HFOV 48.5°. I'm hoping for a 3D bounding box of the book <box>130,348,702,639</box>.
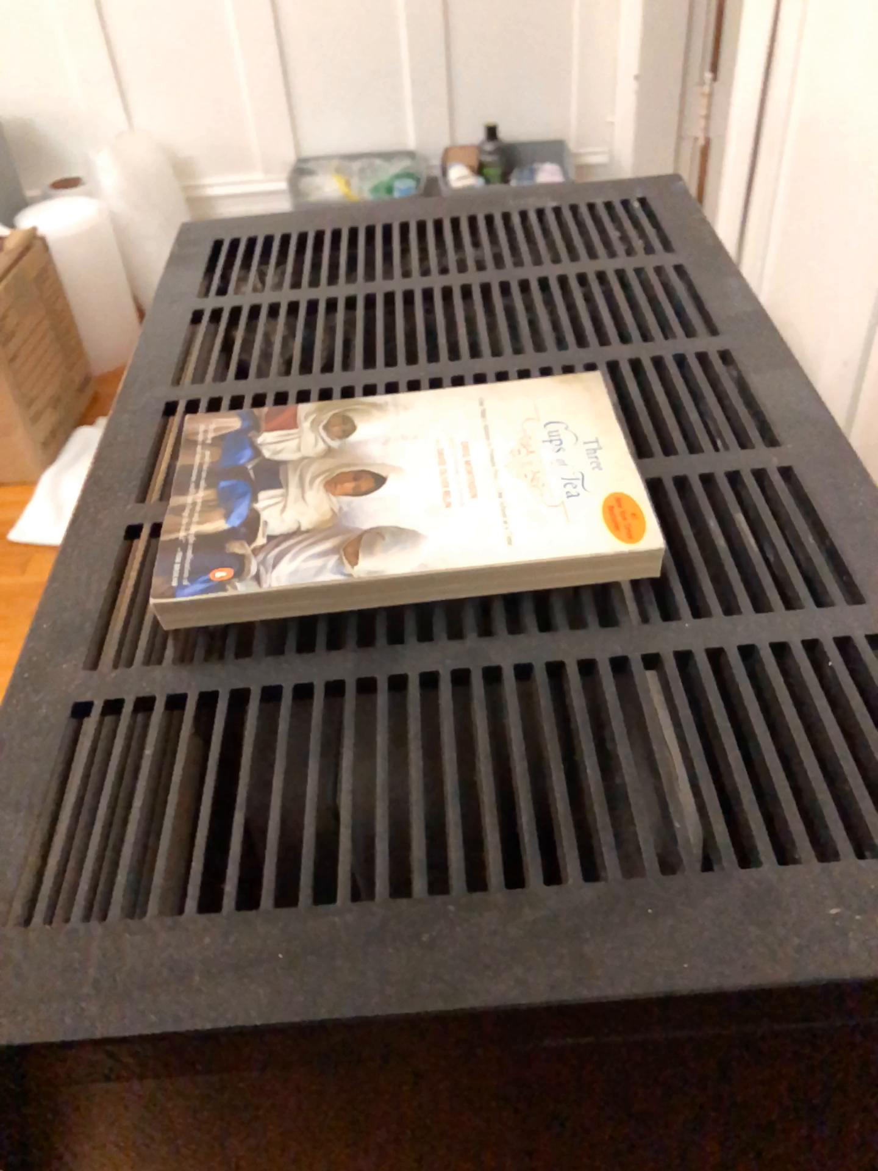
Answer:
[{"bbox_3d":[-0.013,-0.048,0.435,0.220,0.030,0.141,-6,42,-2],"label":"book"}]
